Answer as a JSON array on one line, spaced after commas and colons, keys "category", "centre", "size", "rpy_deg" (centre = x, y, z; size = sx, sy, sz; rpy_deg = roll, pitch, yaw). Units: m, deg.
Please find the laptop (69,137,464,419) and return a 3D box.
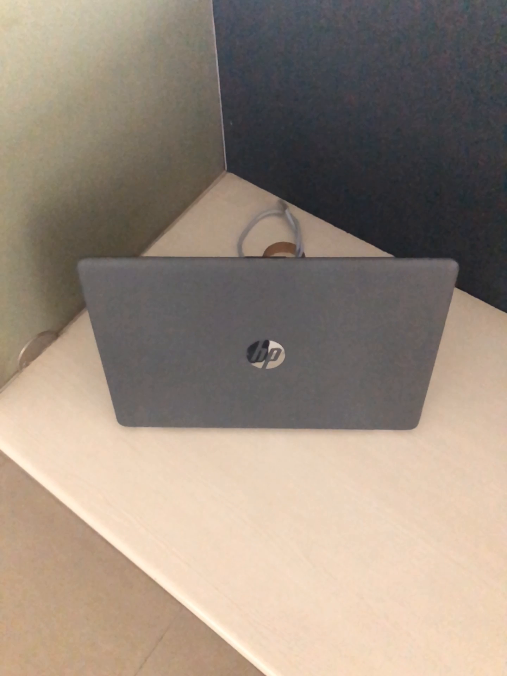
[{"category": "laptop", "centre": [0.015, -0.062, 0.659], "size": [0.359, 0.216, 0.239], "rpy_deg": [0, 60, 3]}]
